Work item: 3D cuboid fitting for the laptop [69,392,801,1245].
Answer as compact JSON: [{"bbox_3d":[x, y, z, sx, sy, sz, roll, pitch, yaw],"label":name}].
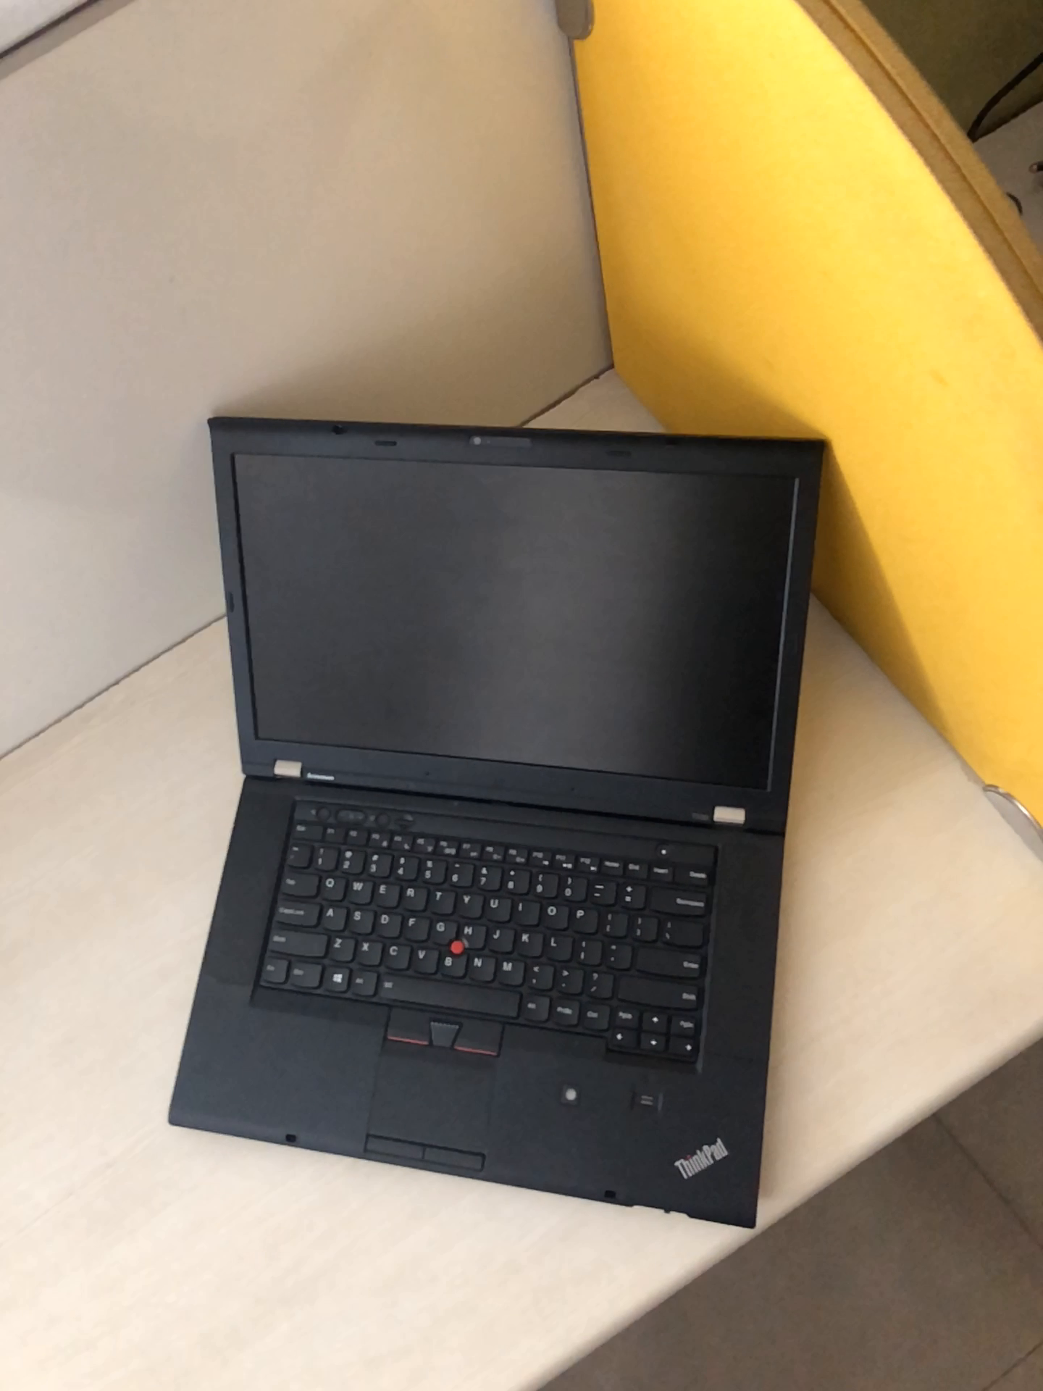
[{"bbox_3d":[-0.026,0.058,0.680,0.353,0.144,0.418,4,74,10],"label":"laptop"}]
